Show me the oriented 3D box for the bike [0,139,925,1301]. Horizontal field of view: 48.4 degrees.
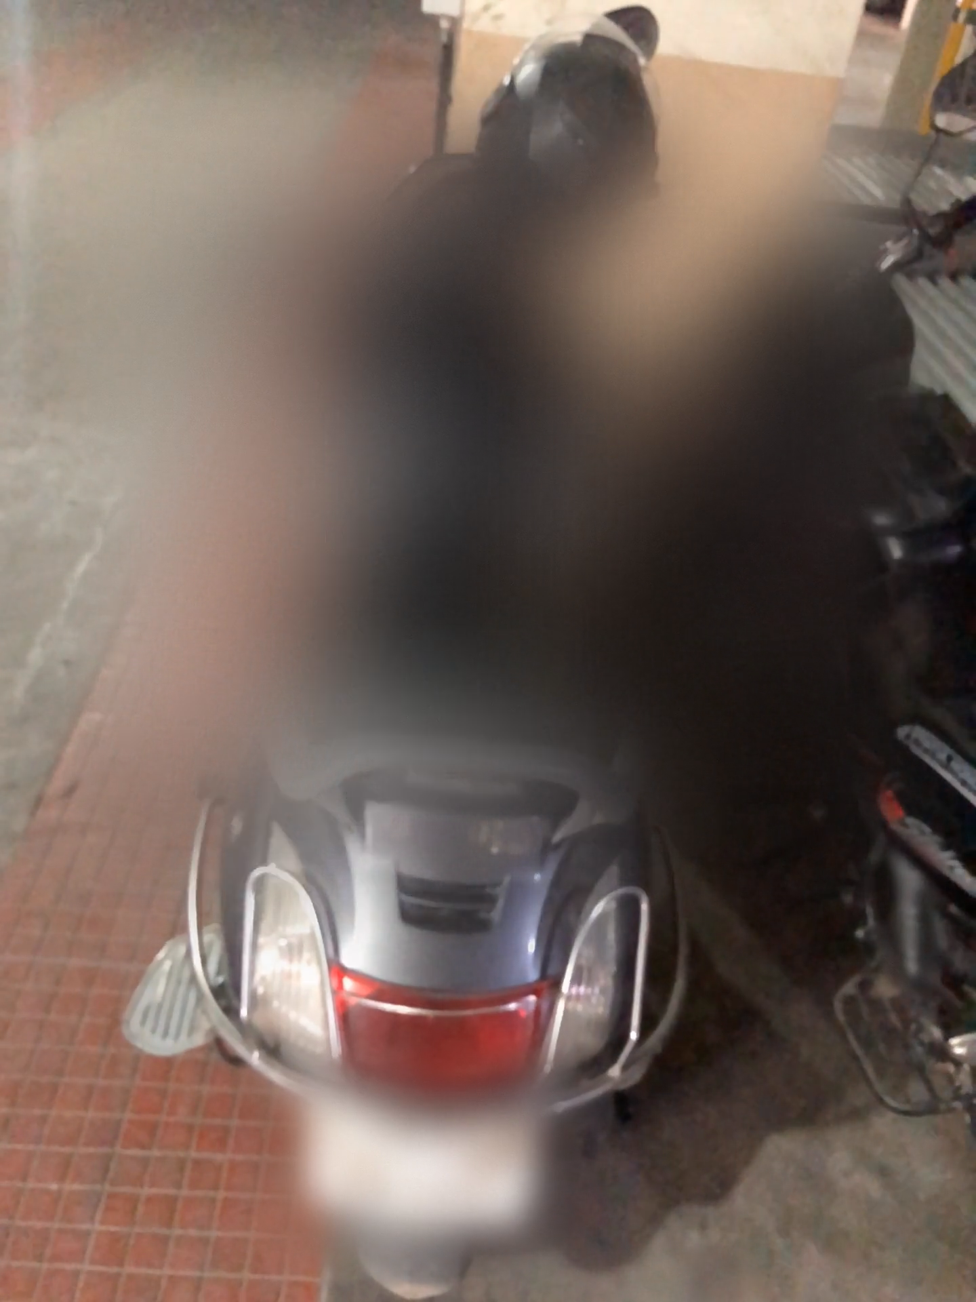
[{"bbox_3d":[-0.173,-0.055,1.591,0.595,0.988,1.502,2,34,-9],"label":"bike"}]
